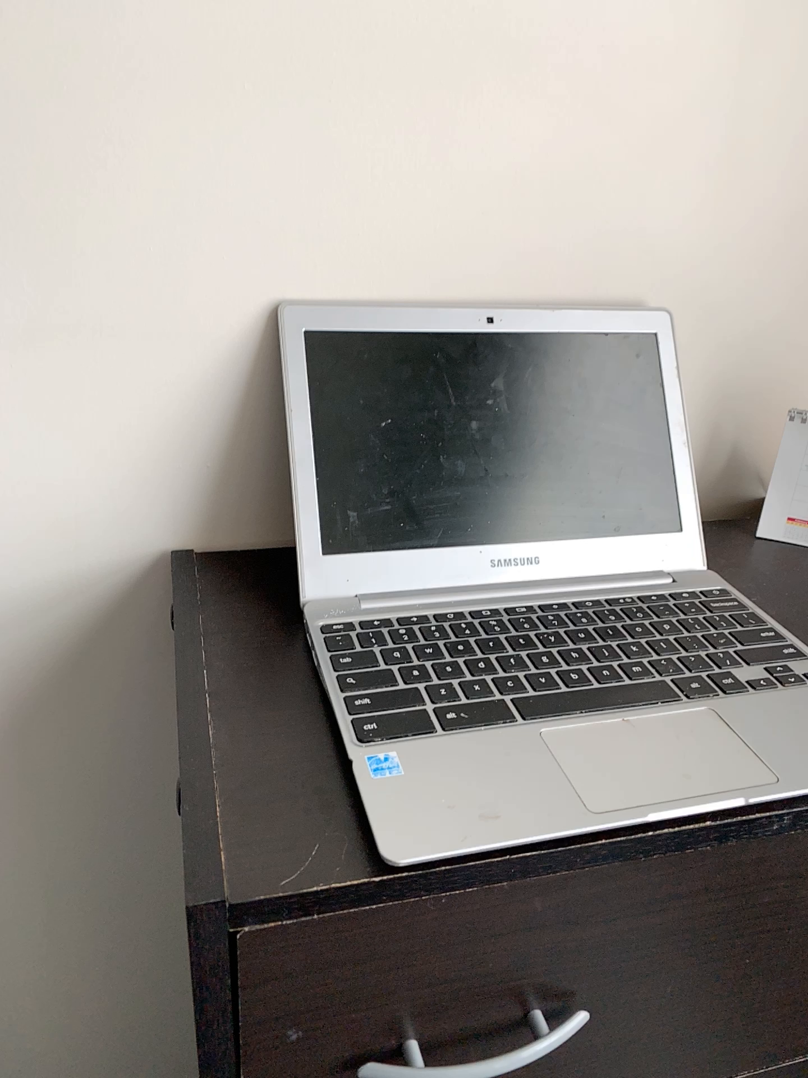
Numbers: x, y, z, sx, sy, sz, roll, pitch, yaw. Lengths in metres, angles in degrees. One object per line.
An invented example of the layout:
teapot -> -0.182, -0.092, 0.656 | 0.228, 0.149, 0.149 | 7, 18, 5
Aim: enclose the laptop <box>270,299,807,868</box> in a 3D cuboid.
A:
laptop -> 0.091, -0.022, 0.467 | 0.291, 0.153, 0.318 | -4, 27, -17
